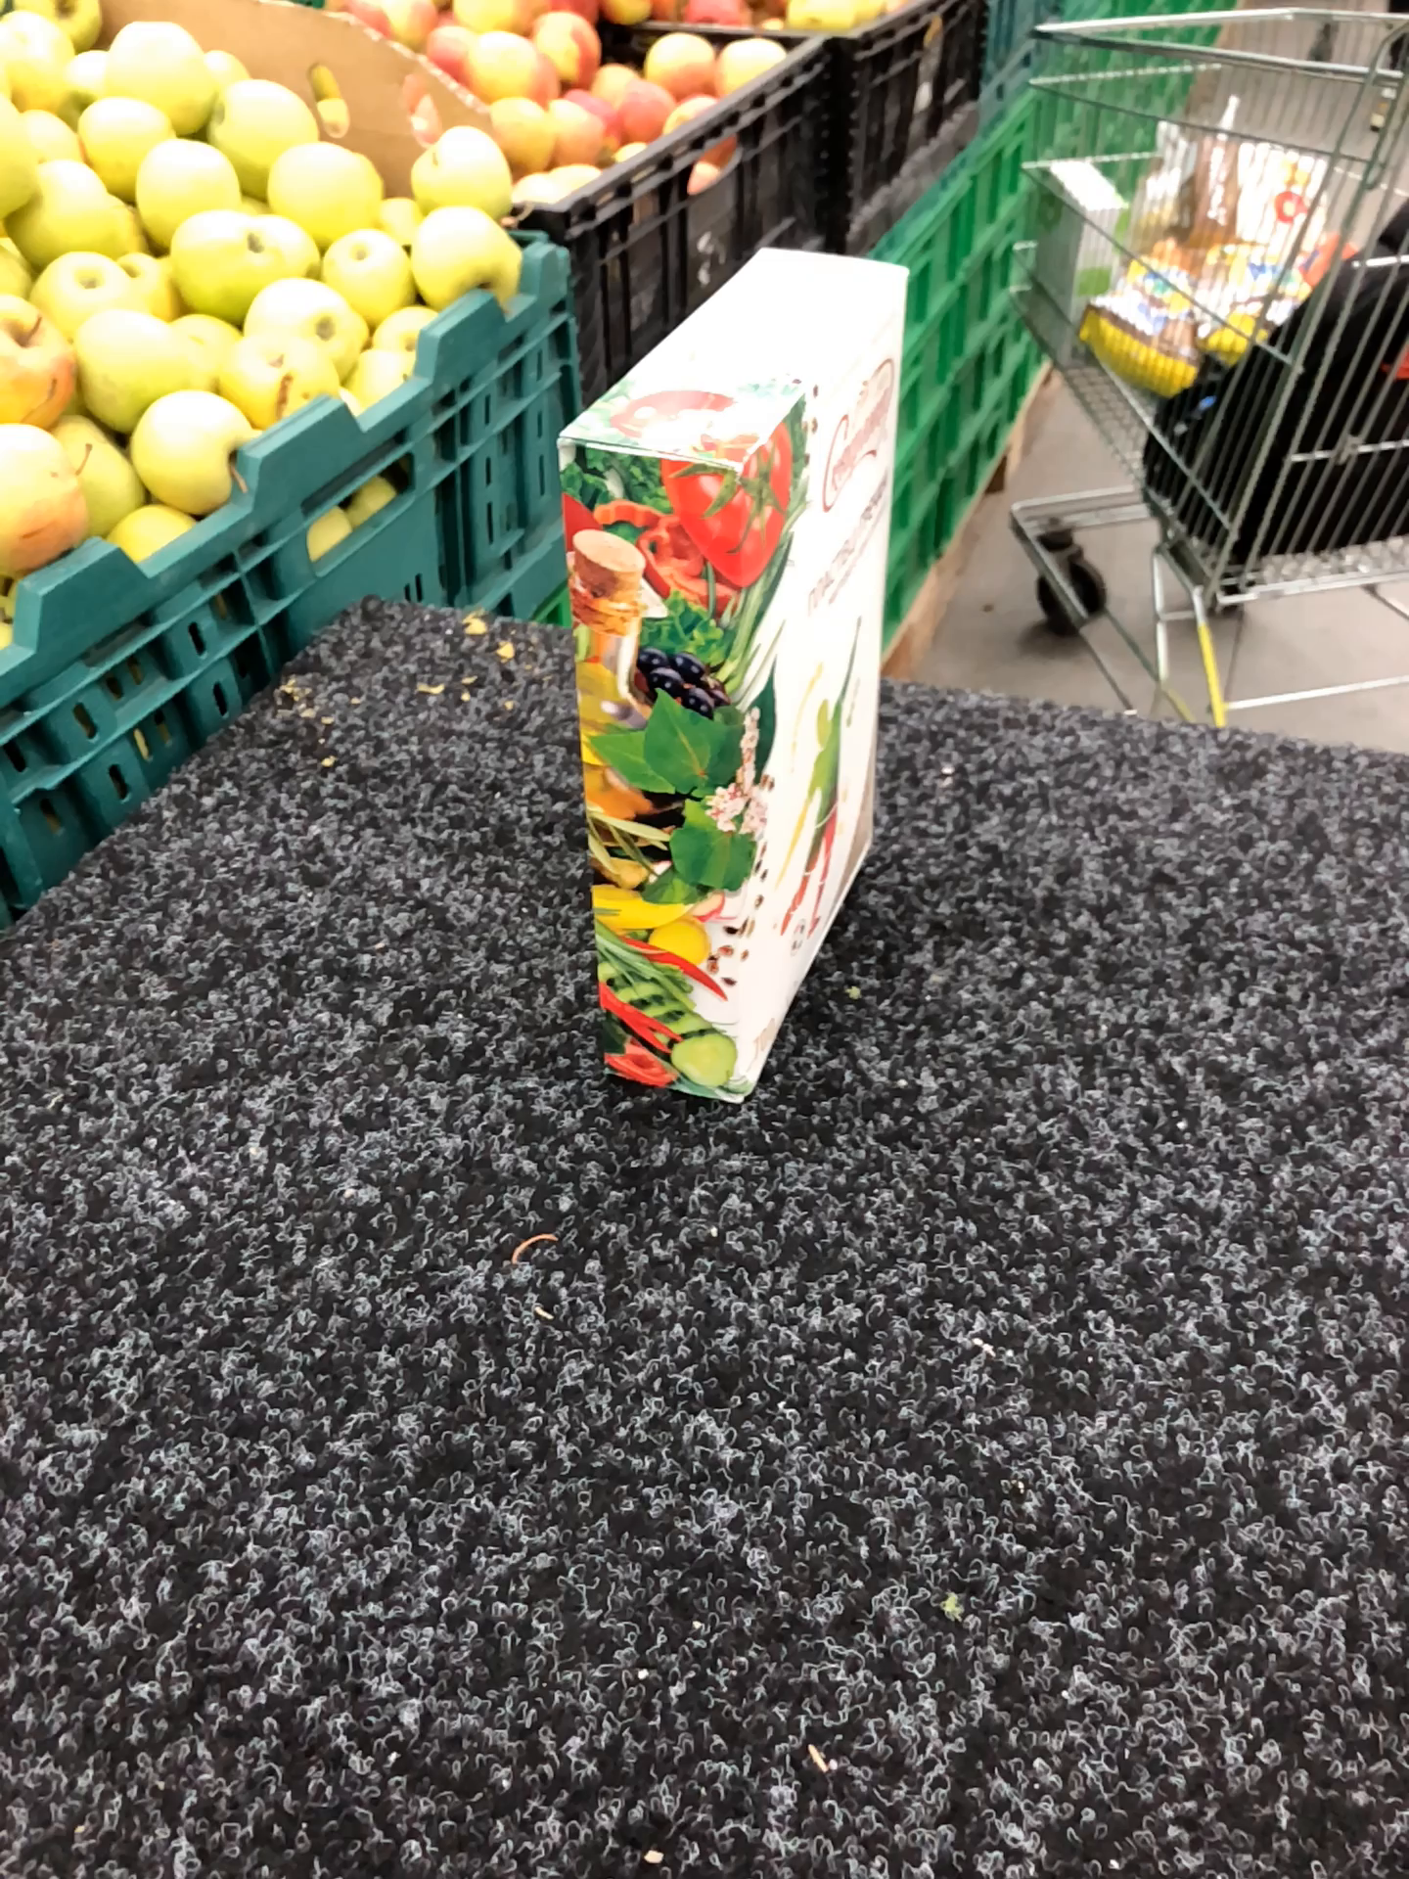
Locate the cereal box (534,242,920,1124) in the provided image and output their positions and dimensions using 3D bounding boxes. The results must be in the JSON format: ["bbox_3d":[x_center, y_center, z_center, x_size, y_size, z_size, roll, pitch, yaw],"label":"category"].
[{"bbox_3d":[0.014,-0.083,0.522,0.060,0.238,0.161,13,42,16],"label":"cereal box"}]
